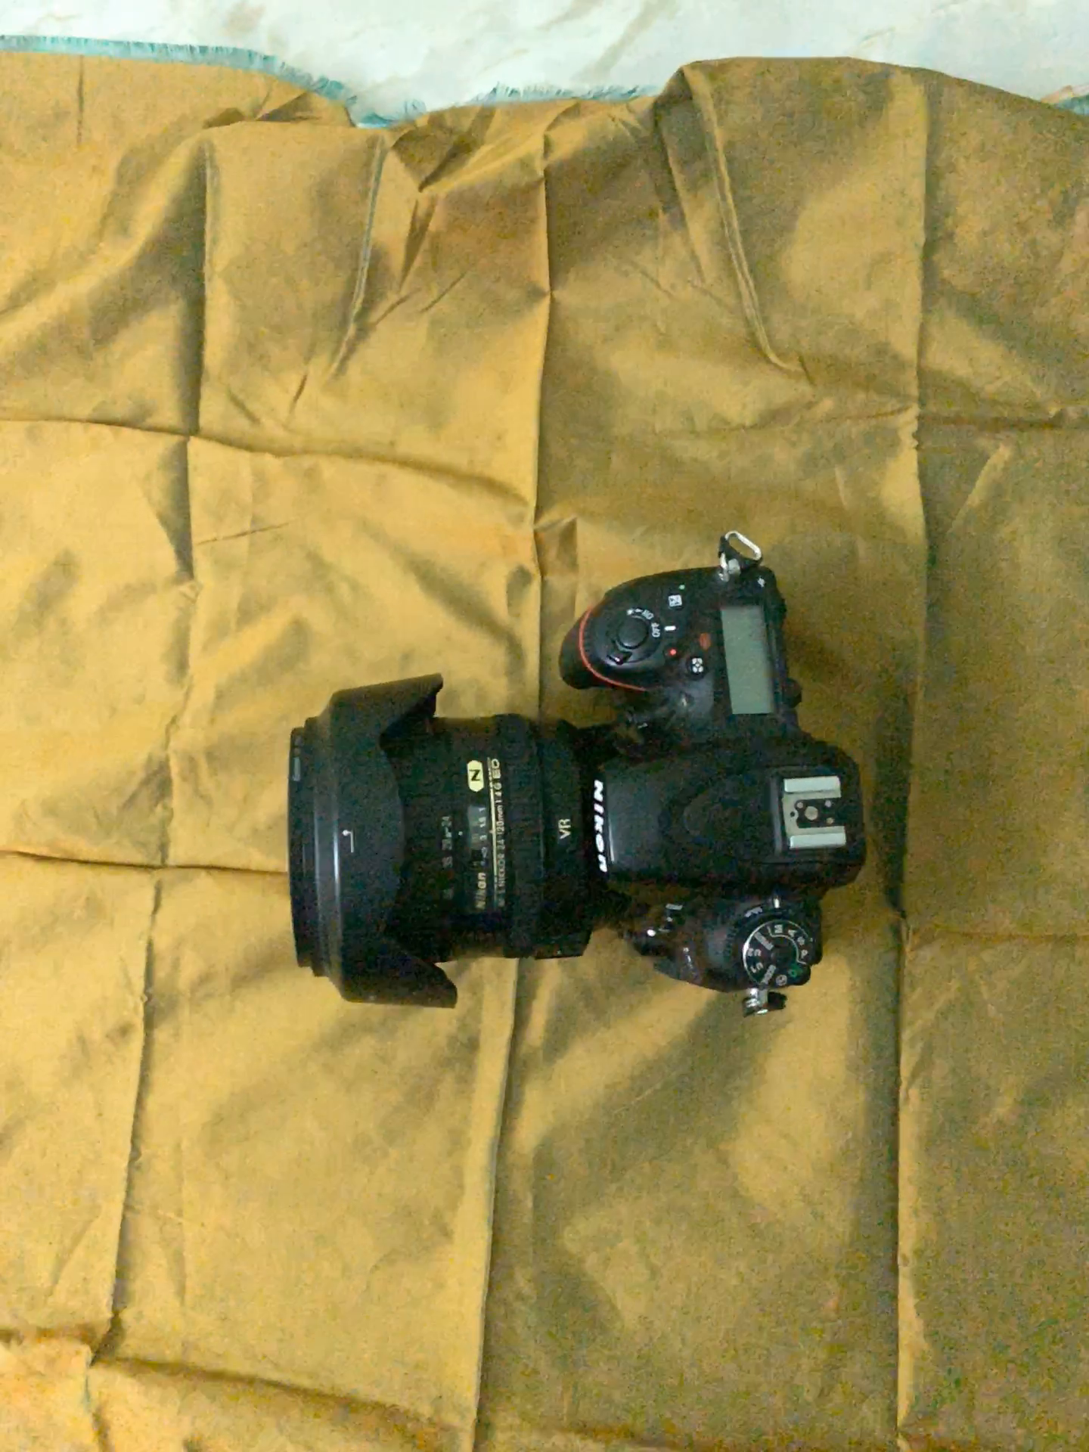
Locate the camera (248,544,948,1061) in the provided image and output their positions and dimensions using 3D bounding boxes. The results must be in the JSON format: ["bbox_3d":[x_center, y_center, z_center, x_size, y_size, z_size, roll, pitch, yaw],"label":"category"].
[{"bbox_3d":[0.011,0.025,0.362,0.192,0.100,0.140,0,82,-6],"label":"camera"}]
